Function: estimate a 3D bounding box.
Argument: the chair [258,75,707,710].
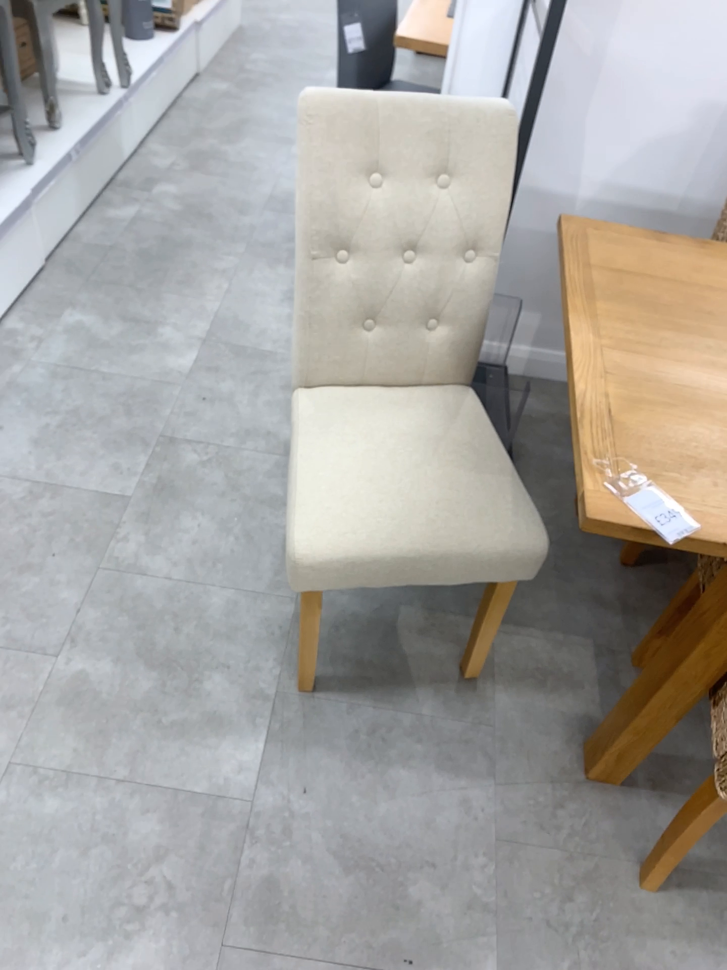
[{"bbox_3d":[0.064,-0.119,1.324,0.479,0.897,0.615,-1,46,-9],"label":"chair"}]
